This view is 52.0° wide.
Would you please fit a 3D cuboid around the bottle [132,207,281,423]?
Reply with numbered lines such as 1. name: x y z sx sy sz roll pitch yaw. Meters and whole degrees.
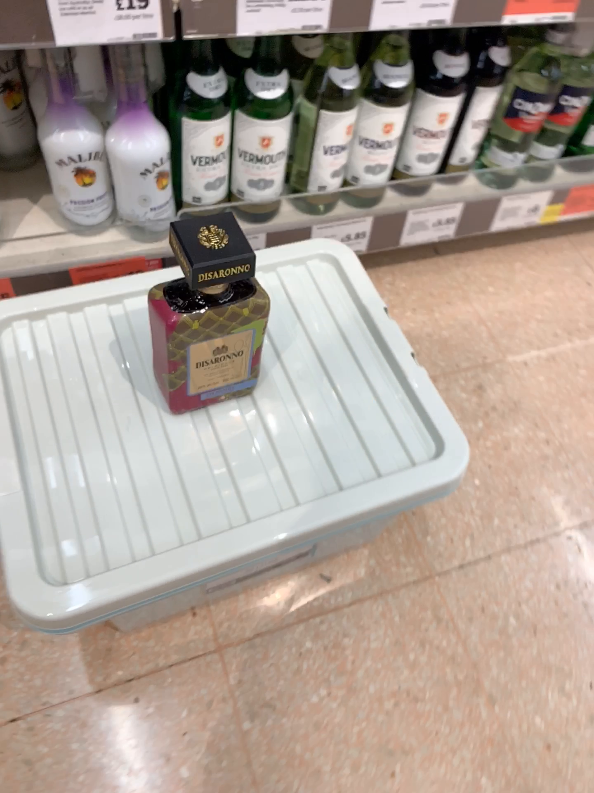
1. bottle: -0.083 -0.065 0.557 0.100 0.199 0.060 -17 61 -19
